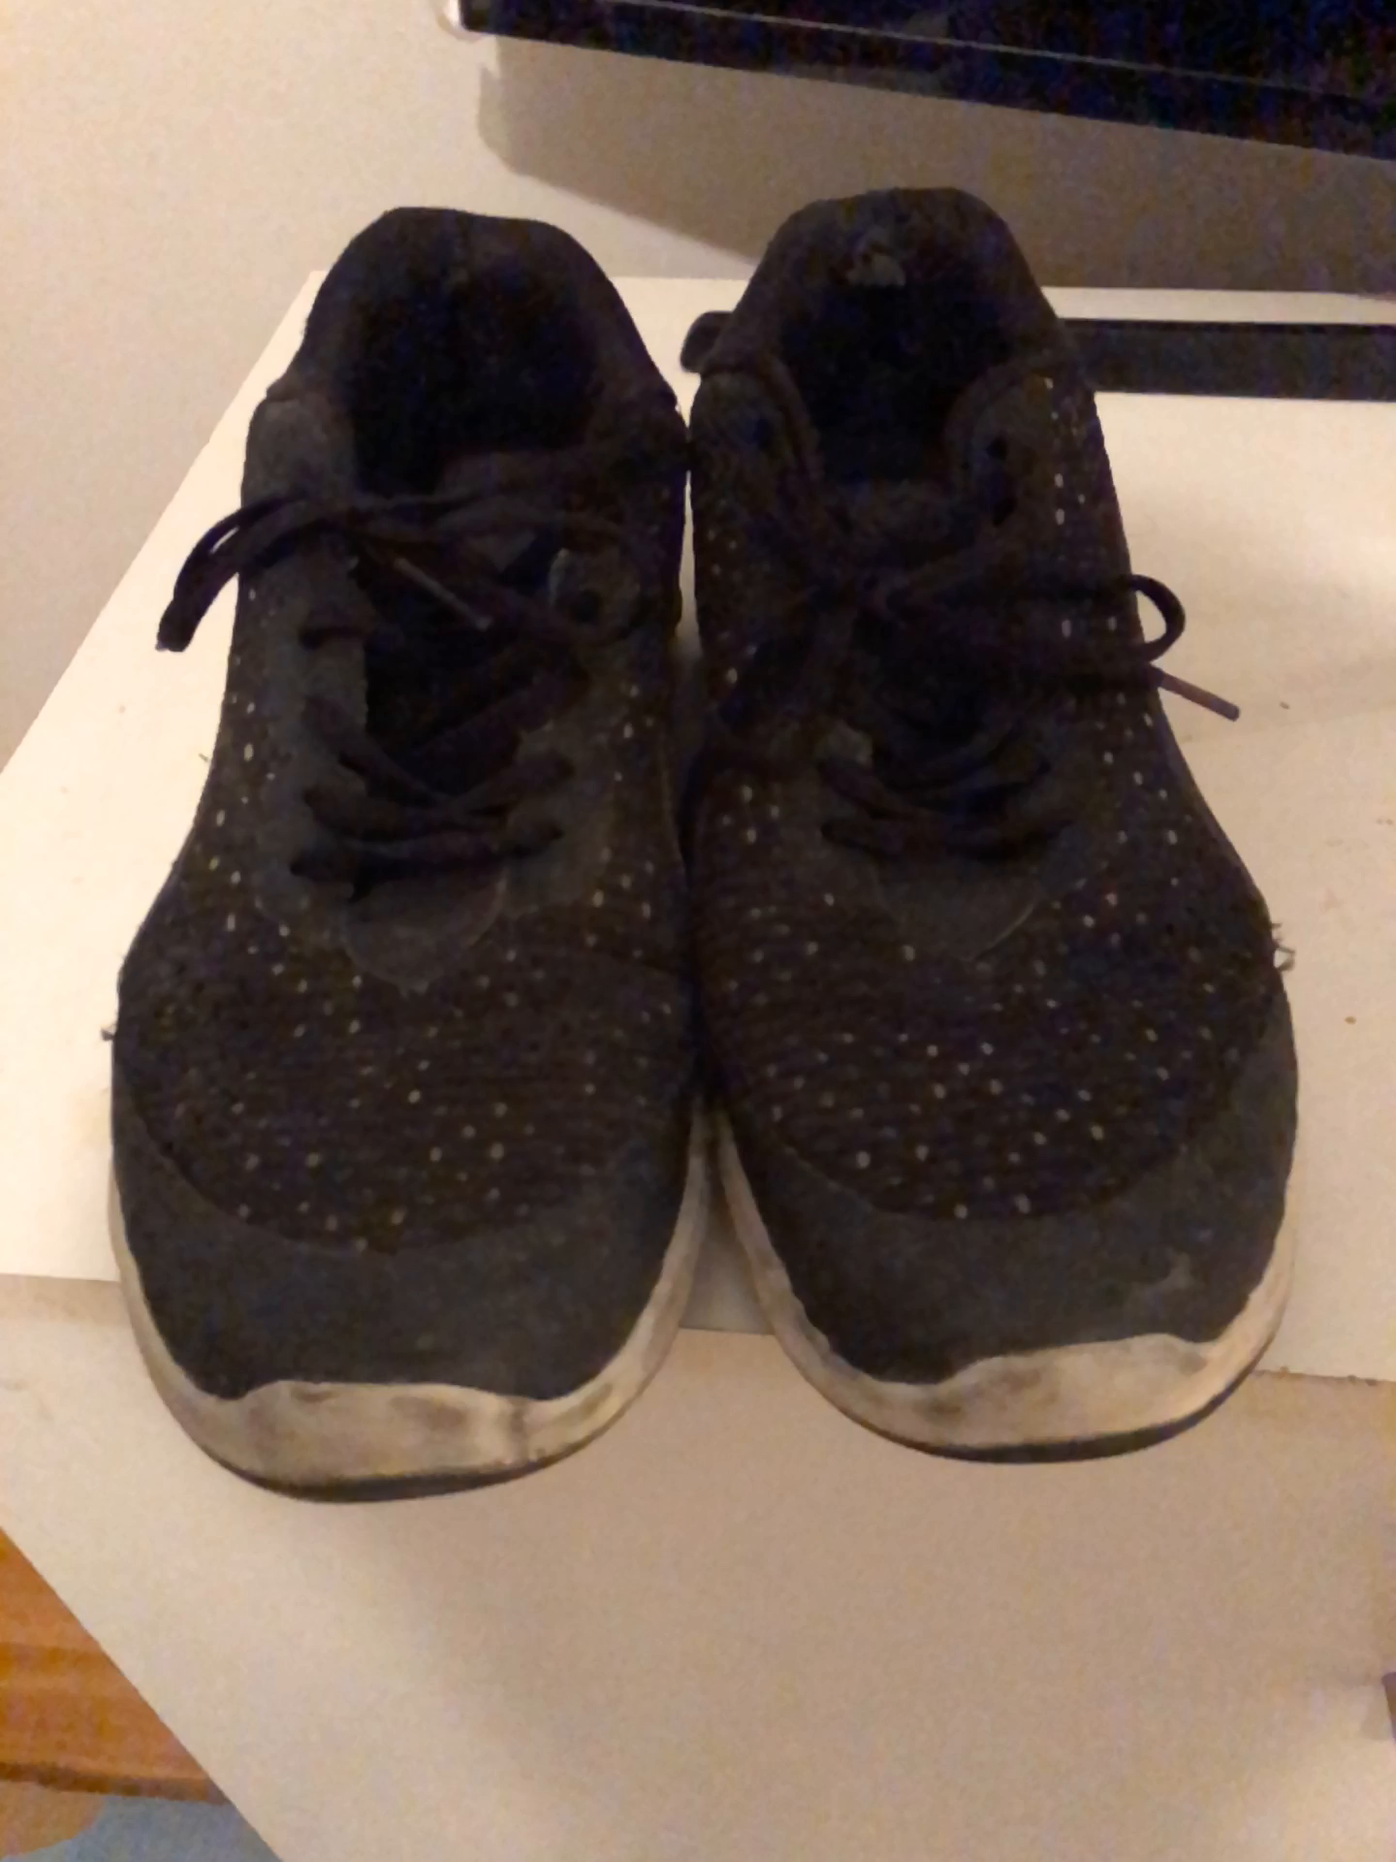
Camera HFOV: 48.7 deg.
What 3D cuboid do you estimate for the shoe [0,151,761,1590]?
[{"bbox_3d":[-0.062,-0.047,0.314,0.120,0.099,0.311,-3,46,-2],"label":"shoe"}]

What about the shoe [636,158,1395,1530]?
[{"bbox_3d":[0.055,-0.052,0.326,0.120,0.099,0.311,-3,46,-2],"label":"shoe"}]
